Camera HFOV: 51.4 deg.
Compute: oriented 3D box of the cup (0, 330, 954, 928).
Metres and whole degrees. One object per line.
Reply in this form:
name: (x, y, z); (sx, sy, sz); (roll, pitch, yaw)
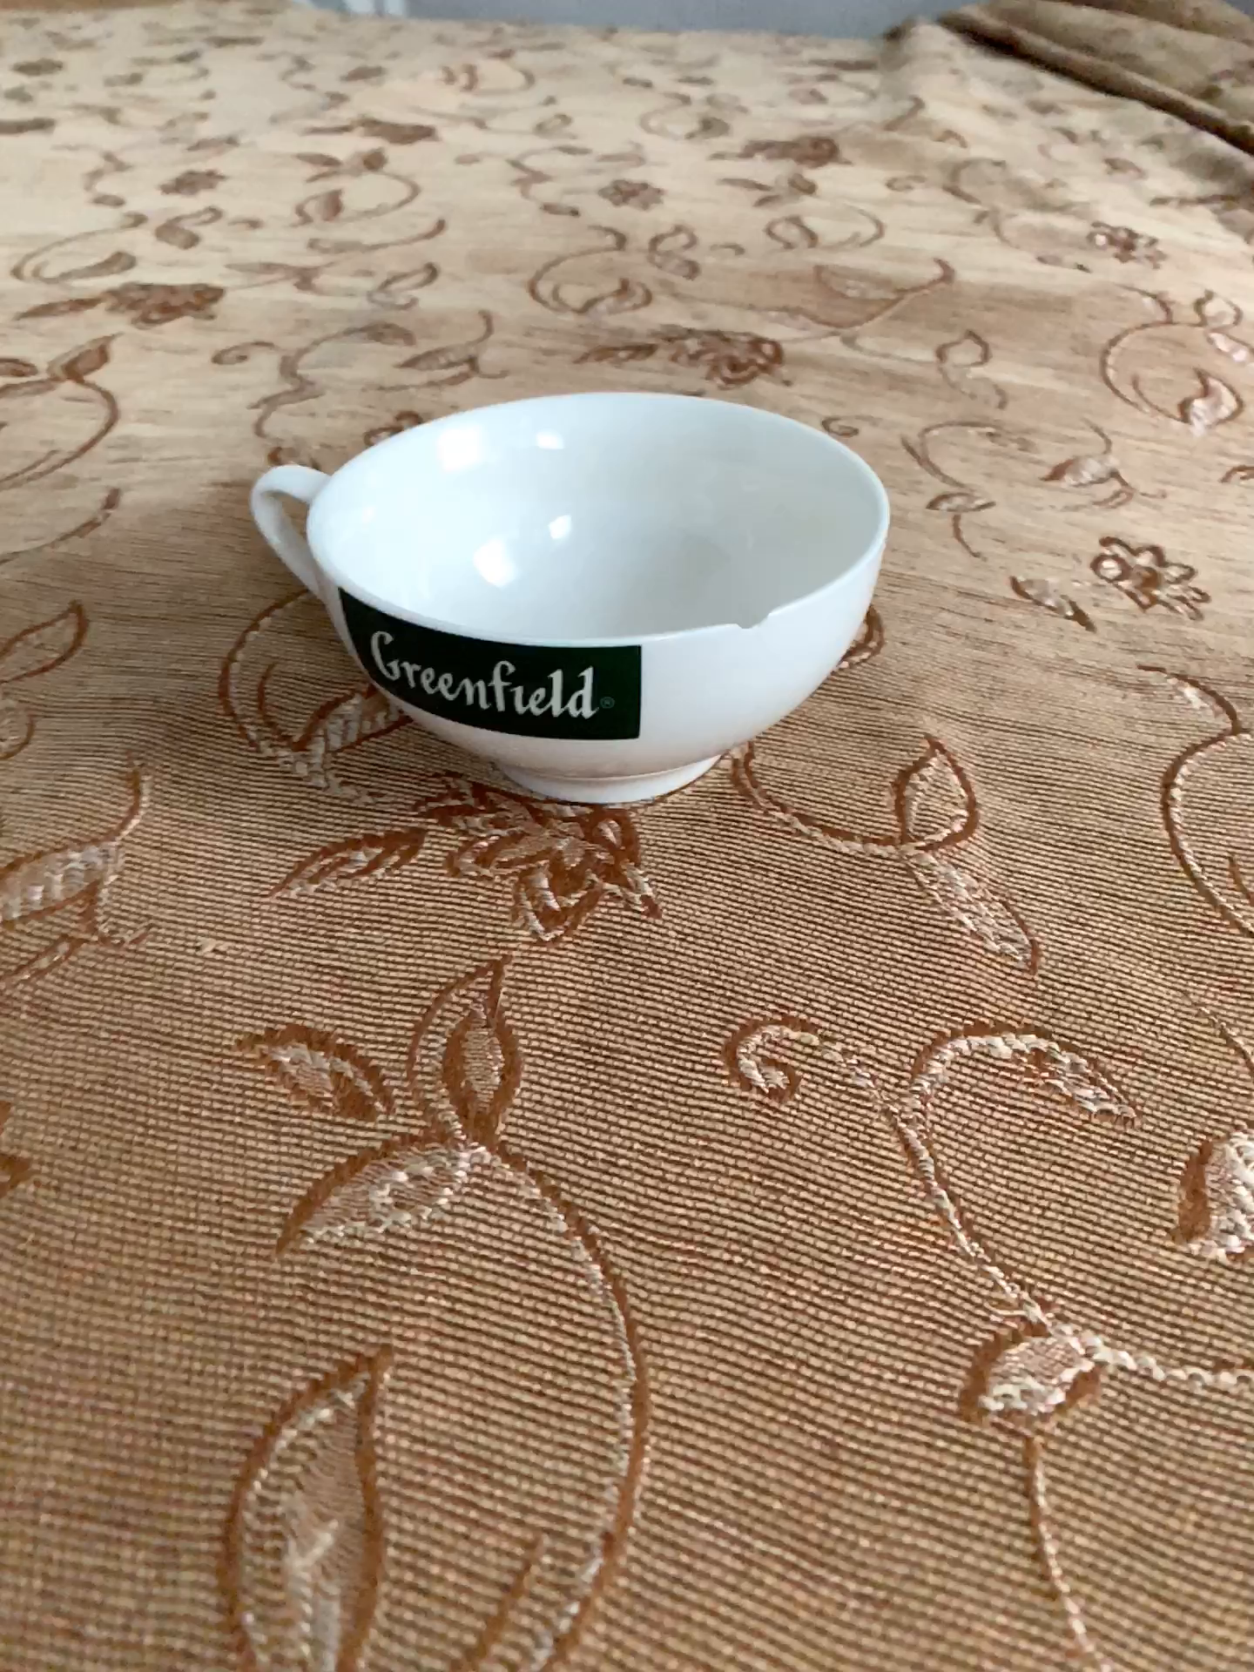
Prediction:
cup: (-0.020, -0.050, 0.249); (0.140, 0.040, 0.111); (14, 41, 15)
